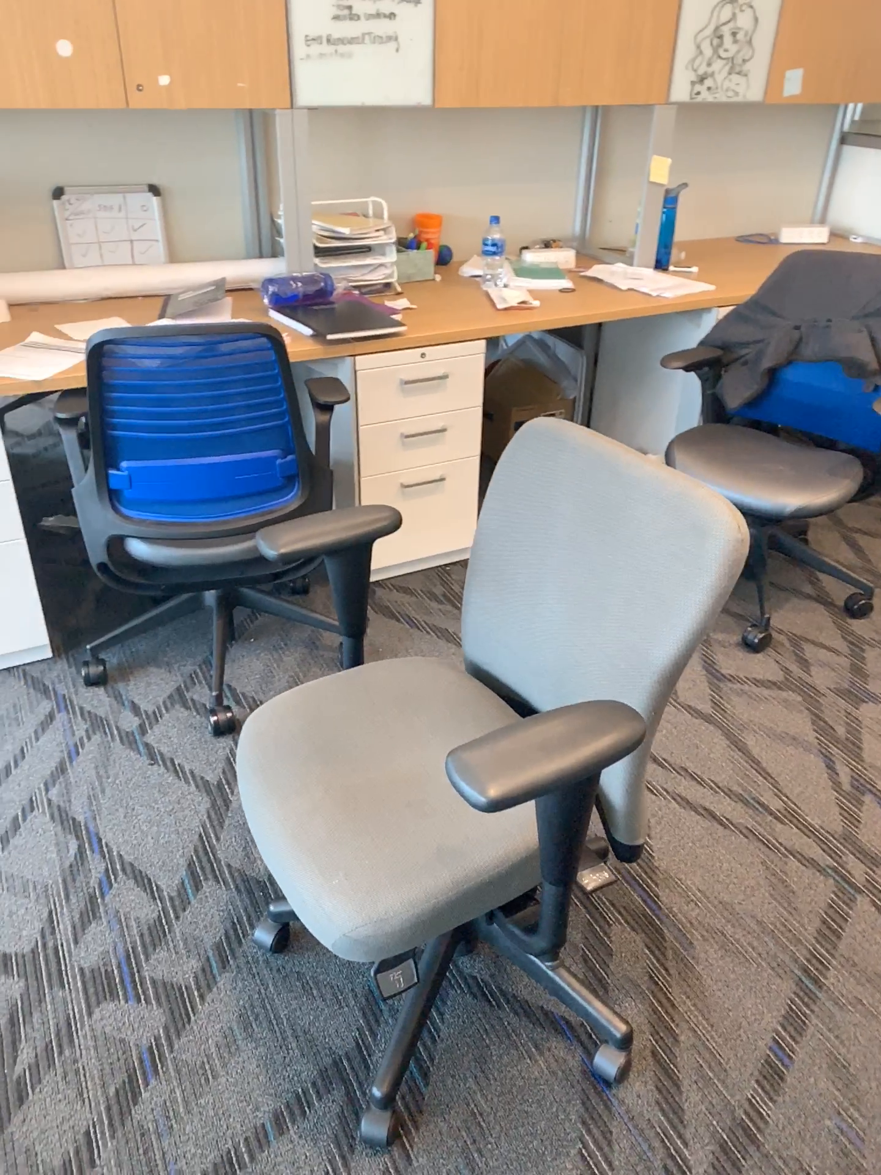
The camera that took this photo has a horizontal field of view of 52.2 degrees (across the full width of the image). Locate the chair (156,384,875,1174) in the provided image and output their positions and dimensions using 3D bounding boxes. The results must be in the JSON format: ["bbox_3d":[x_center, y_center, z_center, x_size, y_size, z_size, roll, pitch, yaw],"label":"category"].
[{"bbox_3d":[0.030,0.232,1.338,0.661,0.813,0.675,-12,33,-23],"label":"chair"}]
